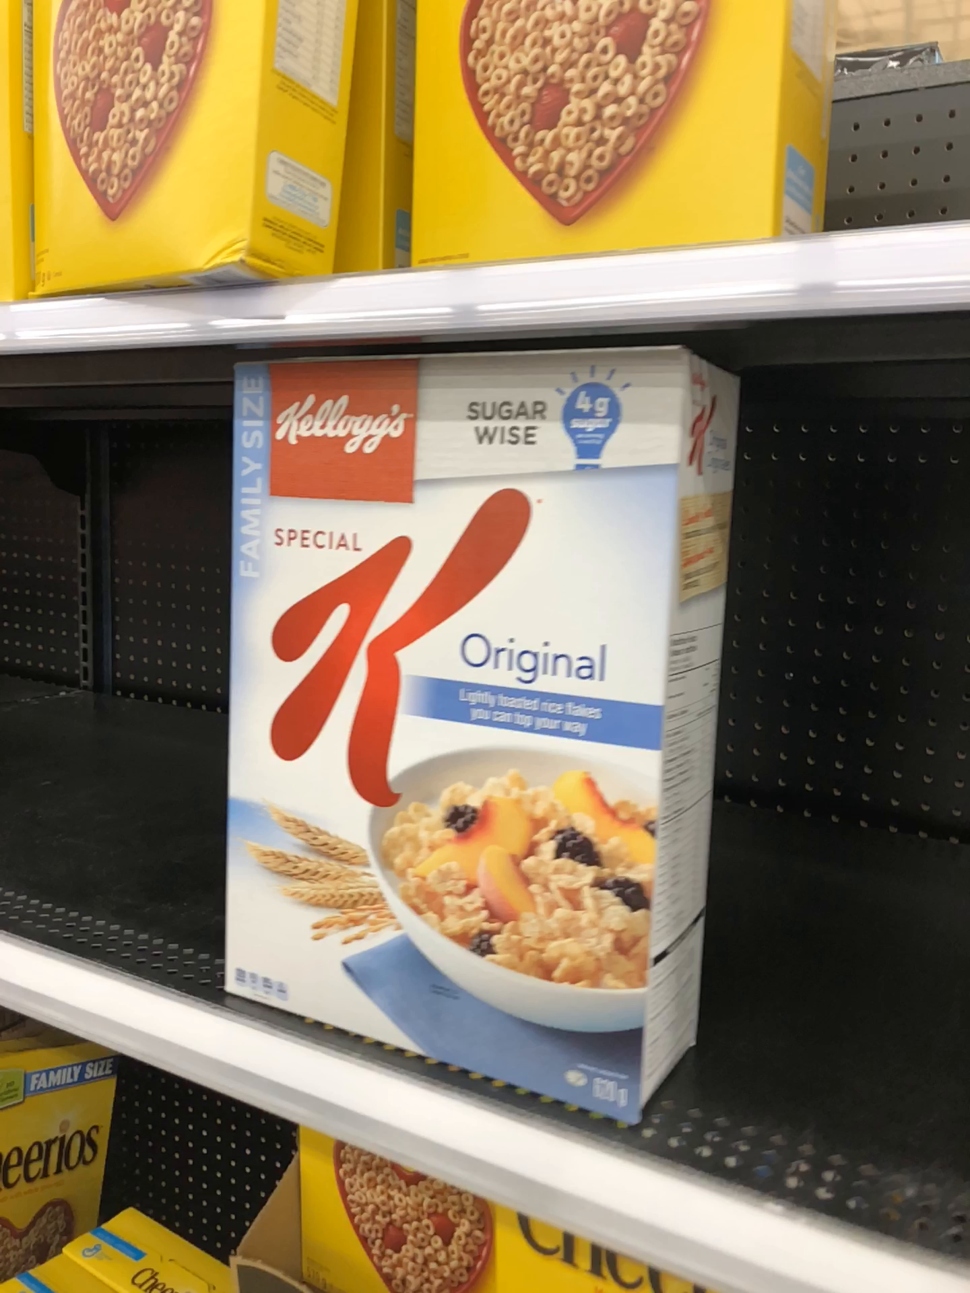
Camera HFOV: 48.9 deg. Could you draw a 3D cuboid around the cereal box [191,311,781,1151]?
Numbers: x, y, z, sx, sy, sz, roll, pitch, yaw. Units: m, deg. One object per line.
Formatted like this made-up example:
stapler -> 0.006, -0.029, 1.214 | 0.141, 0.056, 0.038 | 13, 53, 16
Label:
cereal box -> -0.011, 0.024, 0.505 | 0.260, 0.329, 0.080 | 6, 9, 27
